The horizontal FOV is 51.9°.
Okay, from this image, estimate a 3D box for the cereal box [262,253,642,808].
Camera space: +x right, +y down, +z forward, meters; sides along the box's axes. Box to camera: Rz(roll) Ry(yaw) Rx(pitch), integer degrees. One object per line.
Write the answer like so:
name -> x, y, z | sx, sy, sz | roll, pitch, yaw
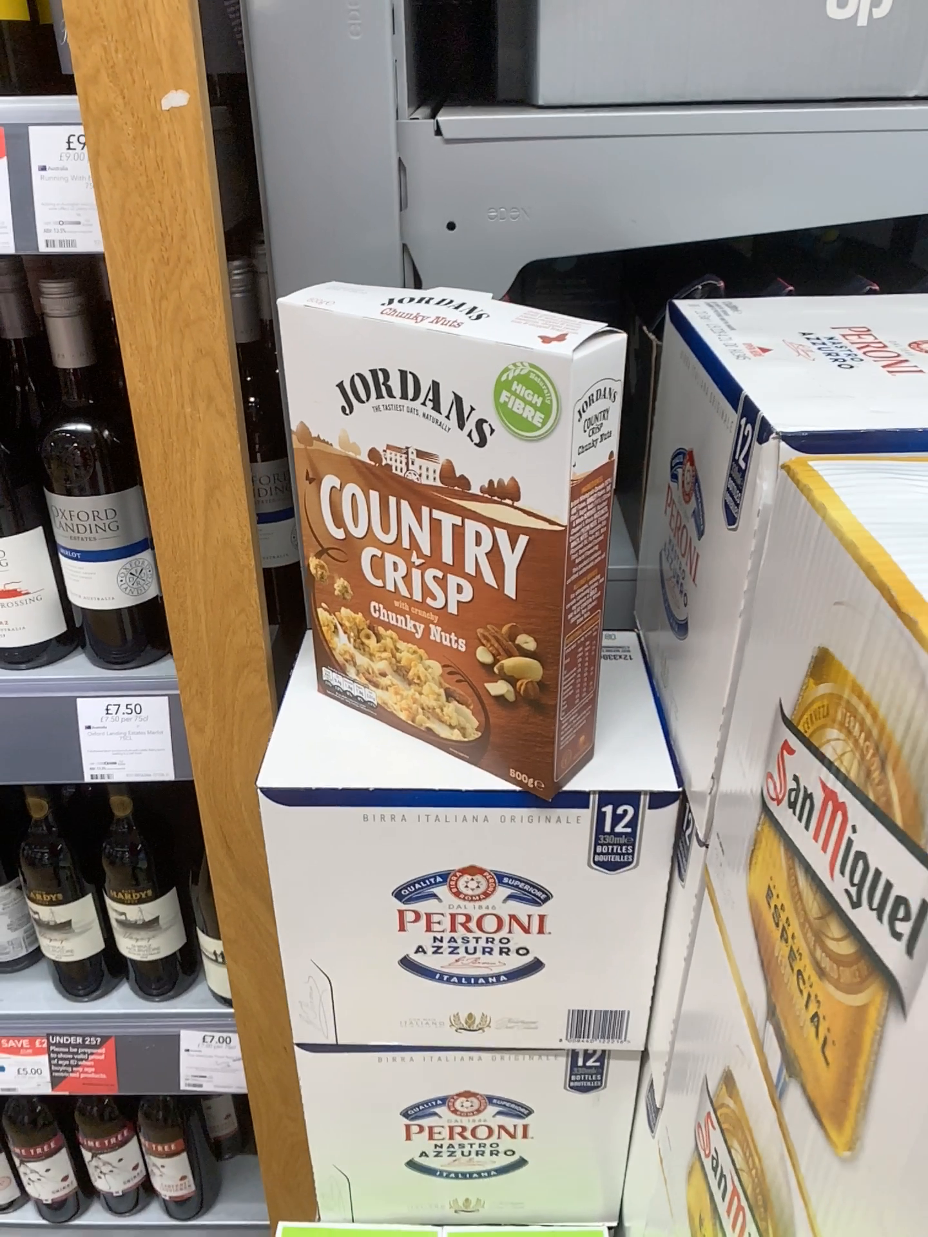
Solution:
cereal box -> -0.012, -0.049, 0.517 | 0.191, 0.258, 0.050 | 21, 36, 32
